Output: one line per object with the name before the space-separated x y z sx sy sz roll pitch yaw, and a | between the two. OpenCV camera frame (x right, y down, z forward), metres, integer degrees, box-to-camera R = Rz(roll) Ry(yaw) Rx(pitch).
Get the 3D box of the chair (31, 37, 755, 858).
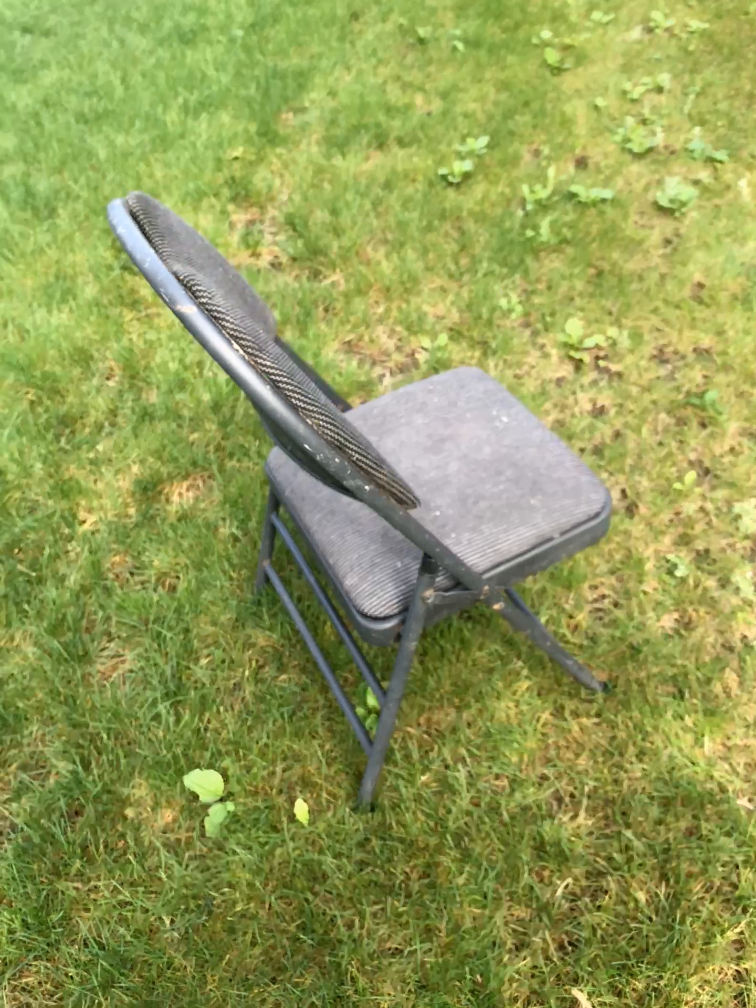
chair | 0.011 -0.057 1.129 0.570 0.815 0.533 -22 47 -14
